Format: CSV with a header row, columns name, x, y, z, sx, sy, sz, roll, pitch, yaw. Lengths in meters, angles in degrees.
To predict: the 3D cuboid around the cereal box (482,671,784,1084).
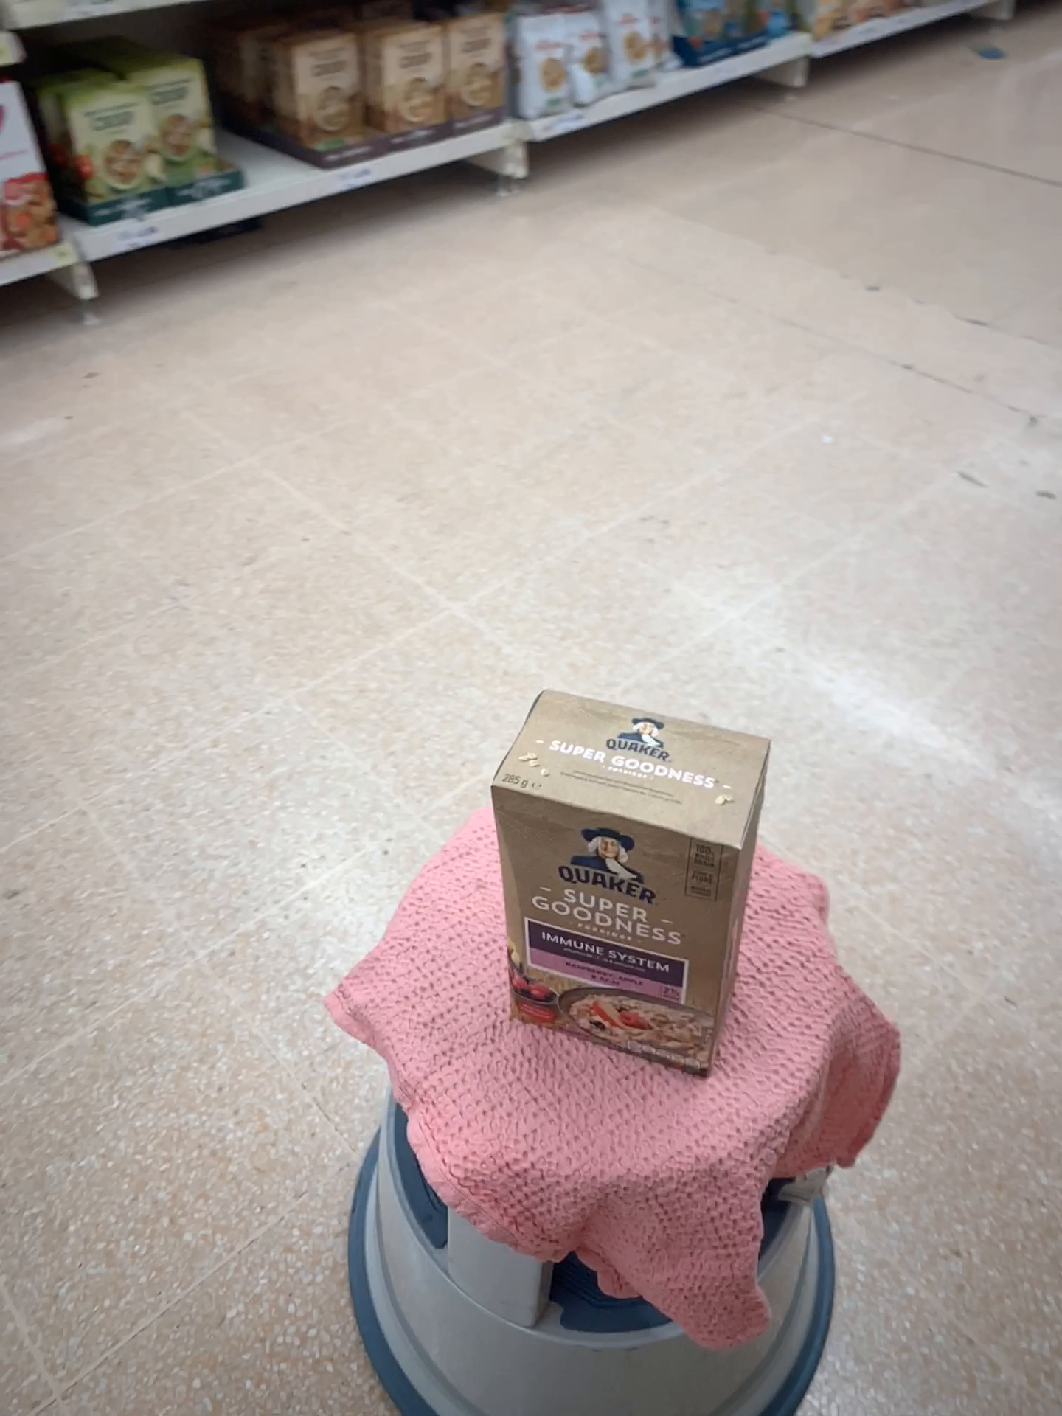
name,x,y,z,sx,sy,sz,roll,pitch,yaw
cereal box,0.055,0.099,0.611,0.130,0.208,0.091,12,45,15
